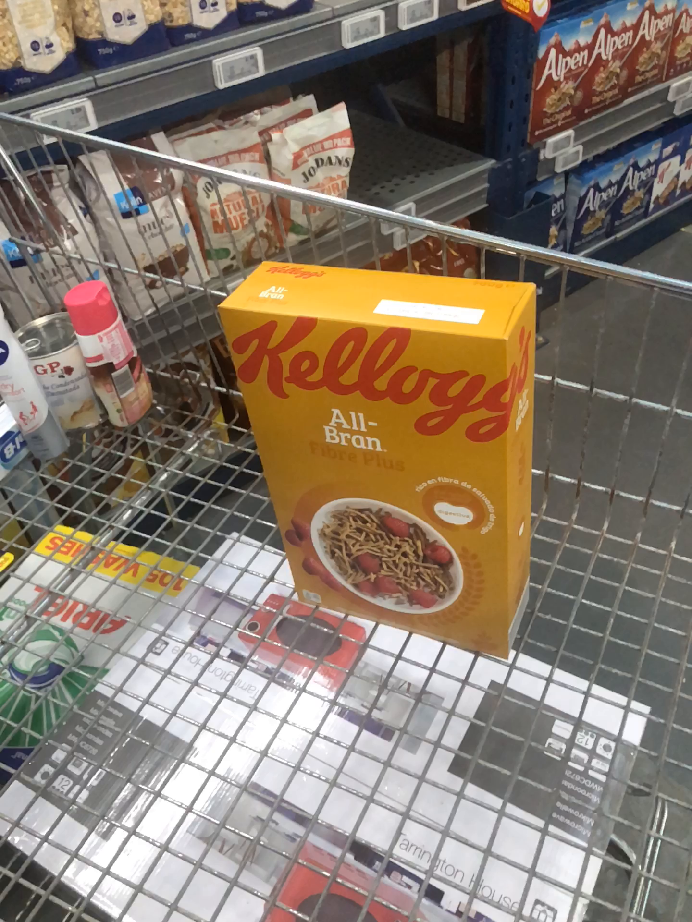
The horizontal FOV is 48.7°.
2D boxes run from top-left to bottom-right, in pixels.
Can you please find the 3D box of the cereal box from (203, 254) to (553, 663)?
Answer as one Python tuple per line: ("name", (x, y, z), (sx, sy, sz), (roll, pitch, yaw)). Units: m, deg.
("cereal box", (0.038, 0.006, 0.552), (0.200, 0.289, 0.070), (11, 45, 25))
